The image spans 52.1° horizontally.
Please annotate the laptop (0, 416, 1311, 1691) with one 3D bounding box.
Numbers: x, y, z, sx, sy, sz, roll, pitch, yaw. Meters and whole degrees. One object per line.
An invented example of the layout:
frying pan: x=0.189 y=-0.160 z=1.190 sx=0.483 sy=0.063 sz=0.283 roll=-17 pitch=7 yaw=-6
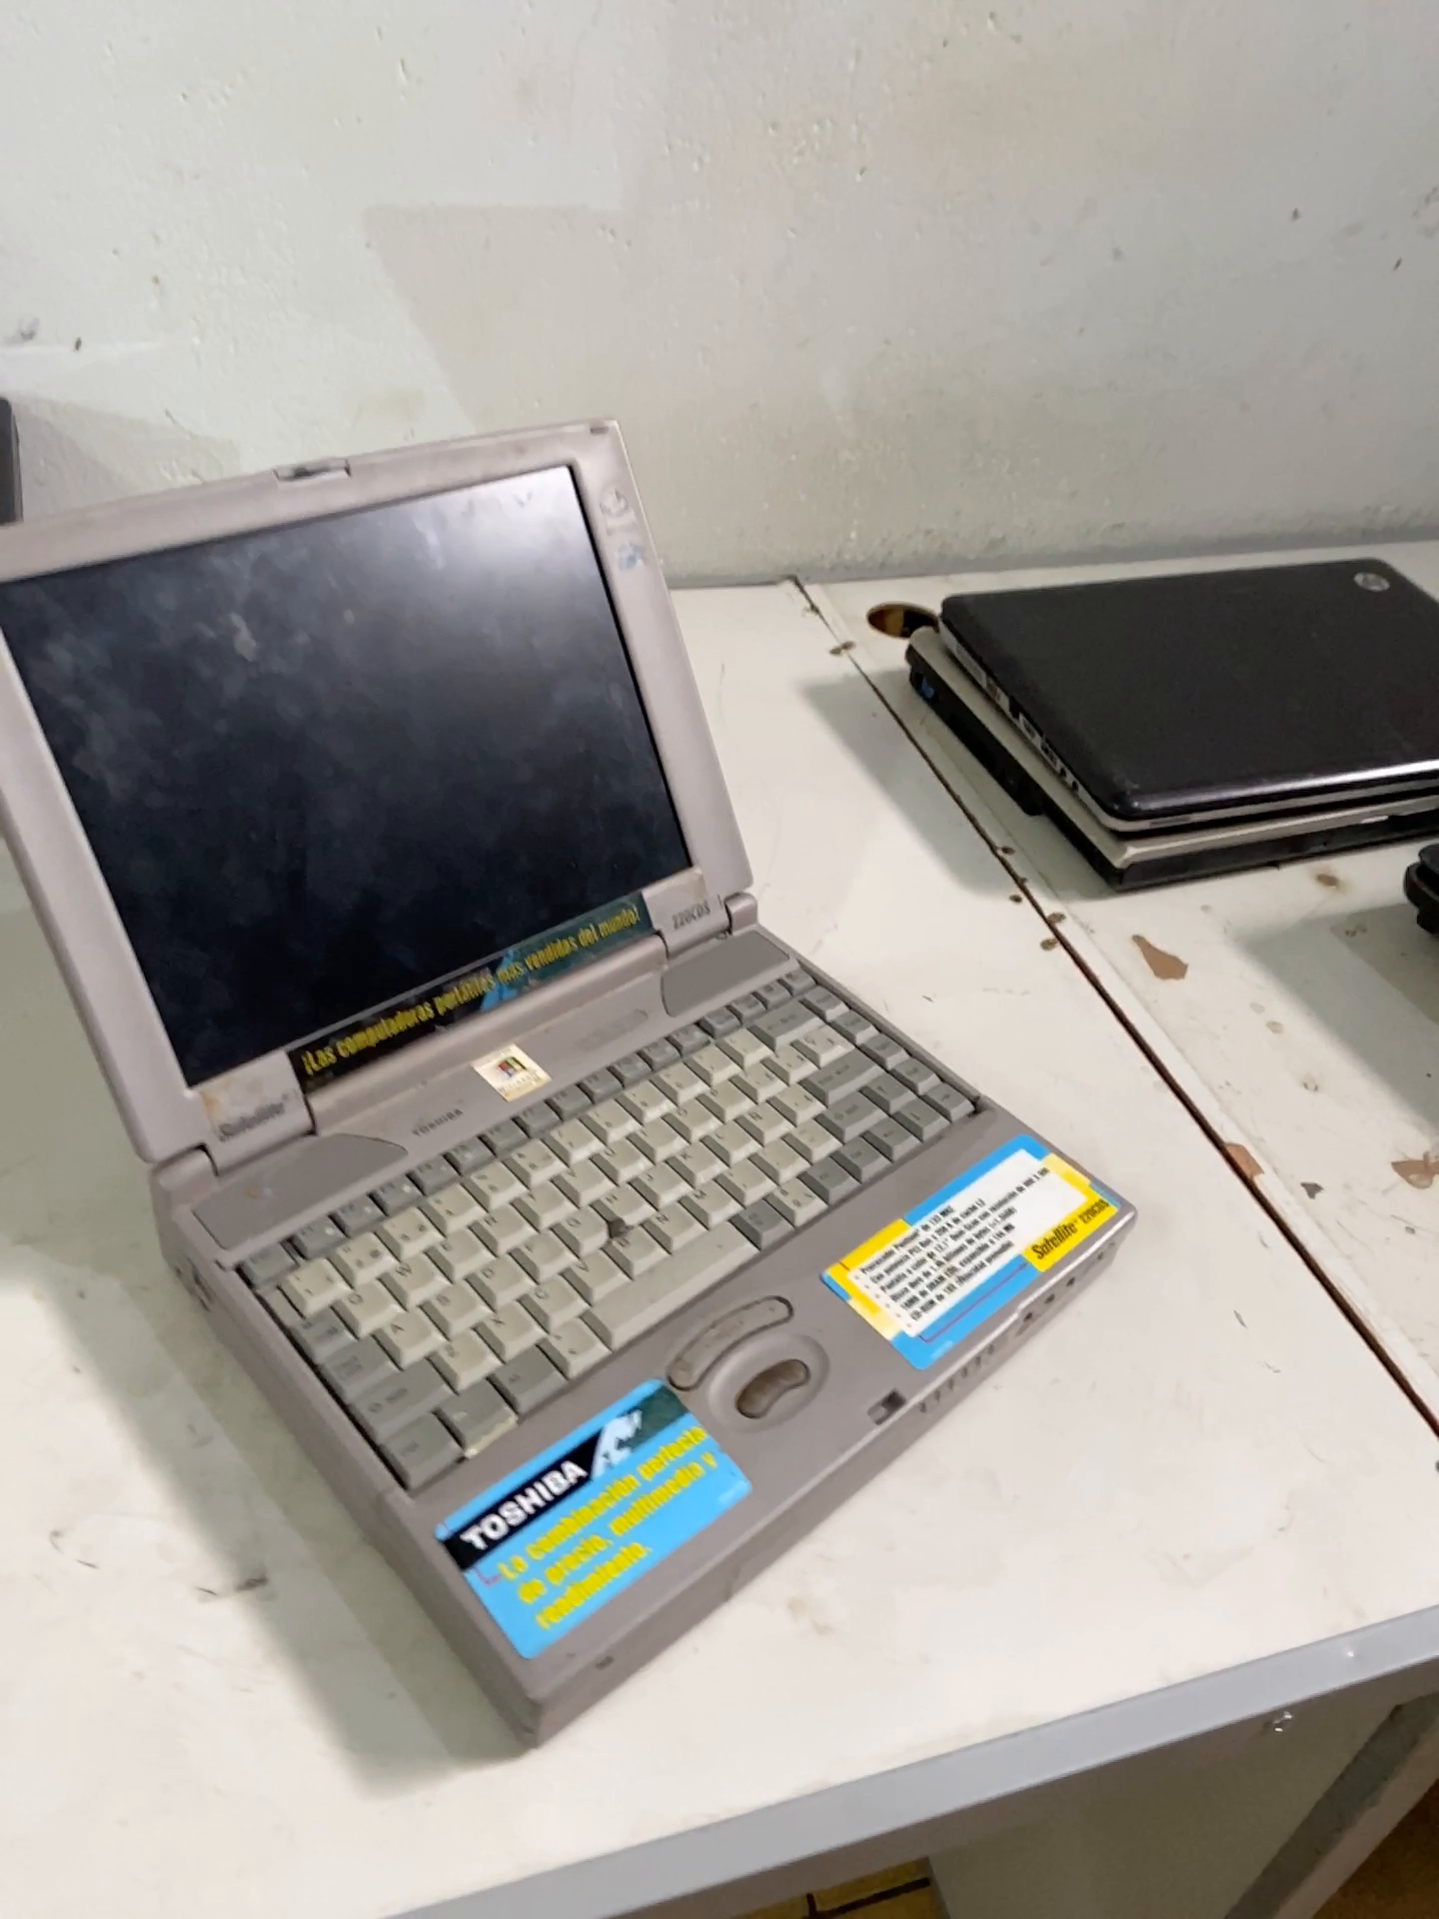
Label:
laptop: x=-0.051 y=-0.017 z=0.540 sx=0.302 sy=0.195 sz=0.358 roll=-26 pitch=50 yaw=-34
